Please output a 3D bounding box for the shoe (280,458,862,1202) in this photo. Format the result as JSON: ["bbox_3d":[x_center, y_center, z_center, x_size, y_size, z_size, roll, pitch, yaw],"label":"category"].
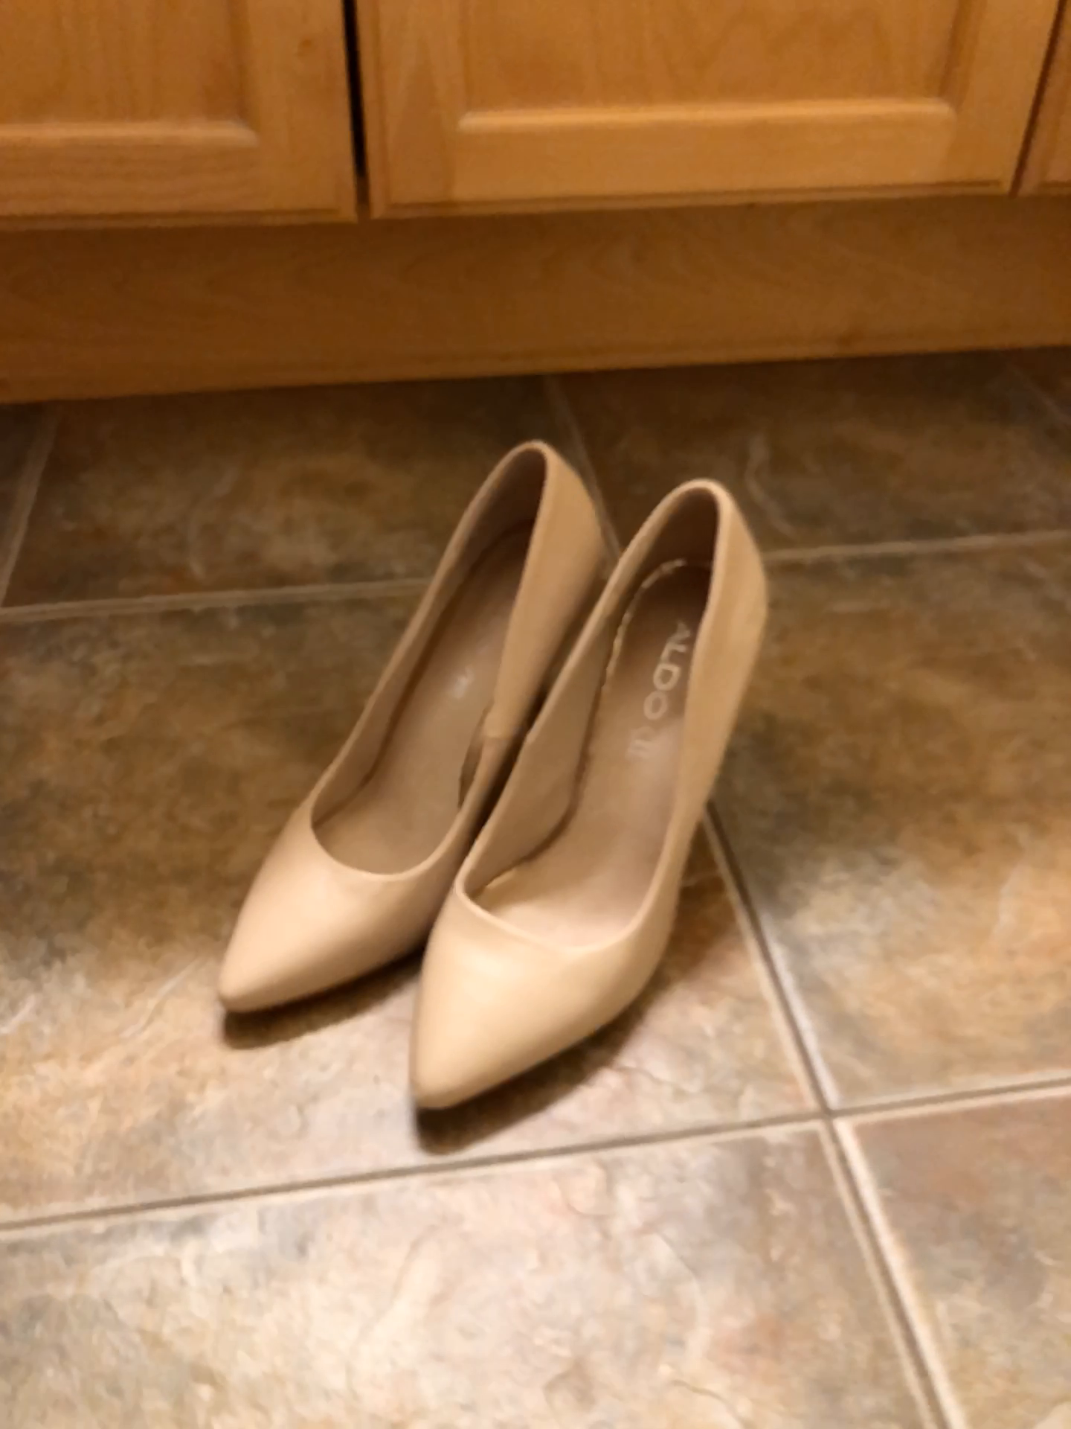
[{"bbox_3d":[0.025,0.025,0.420,0.080,0.129,0.231,22,44,23],"label":"shoe"}]

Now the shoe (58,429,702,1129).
[{"bbox_3d":[-0.041,0.012,0.454,0.080,0.149,0.231,28,47,28],"label":"shoe"}]
